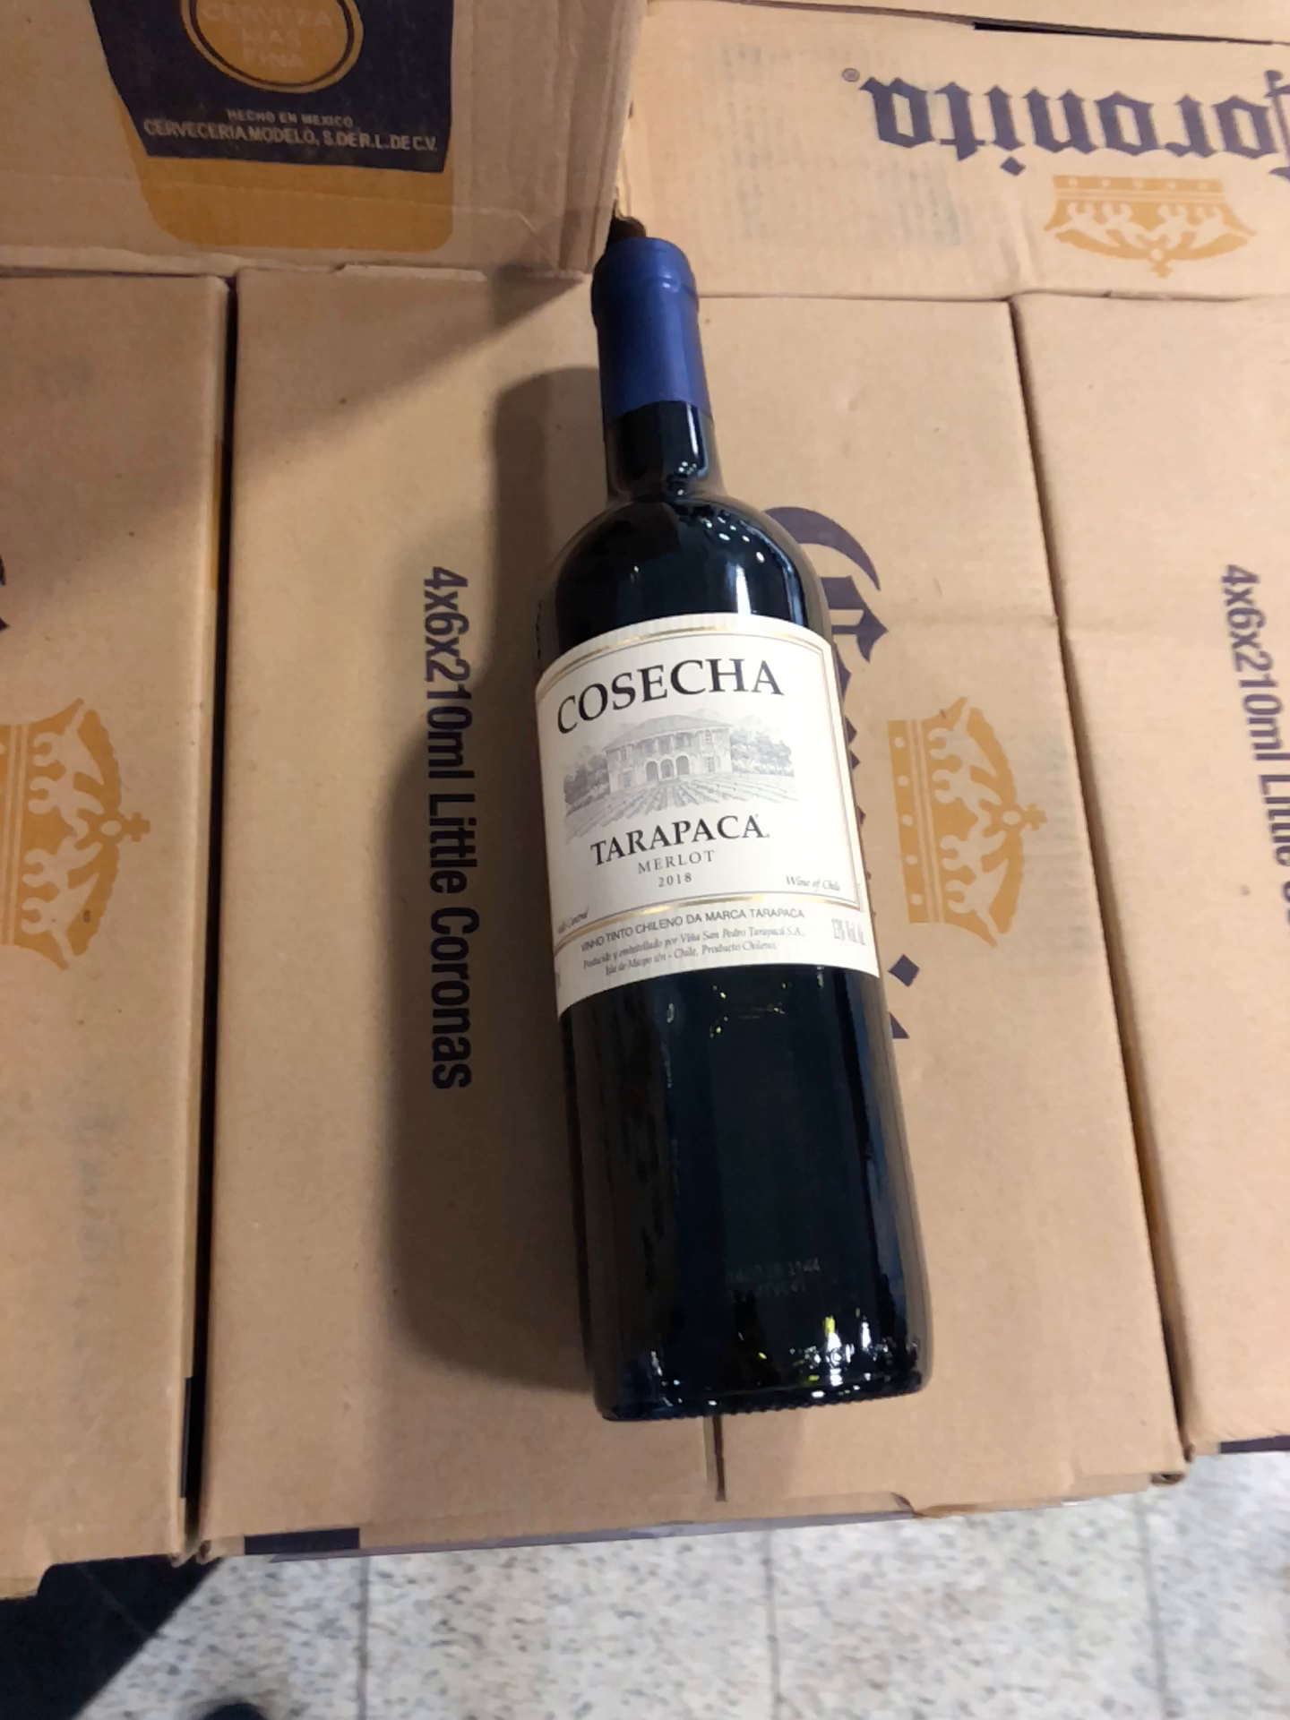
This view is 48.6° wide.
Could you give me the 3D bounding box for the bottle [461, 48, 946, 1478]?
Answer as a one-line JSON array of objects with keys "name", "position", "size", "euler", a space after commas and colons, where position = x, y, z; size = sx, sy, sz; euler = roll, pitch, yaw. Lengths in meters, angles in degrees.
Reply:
[{"name": "bottle", "position": [0.001, -0.038, 0.334], "size": [0.070, 0.060, 0.331], "euler": [4, 67, -18]}]
